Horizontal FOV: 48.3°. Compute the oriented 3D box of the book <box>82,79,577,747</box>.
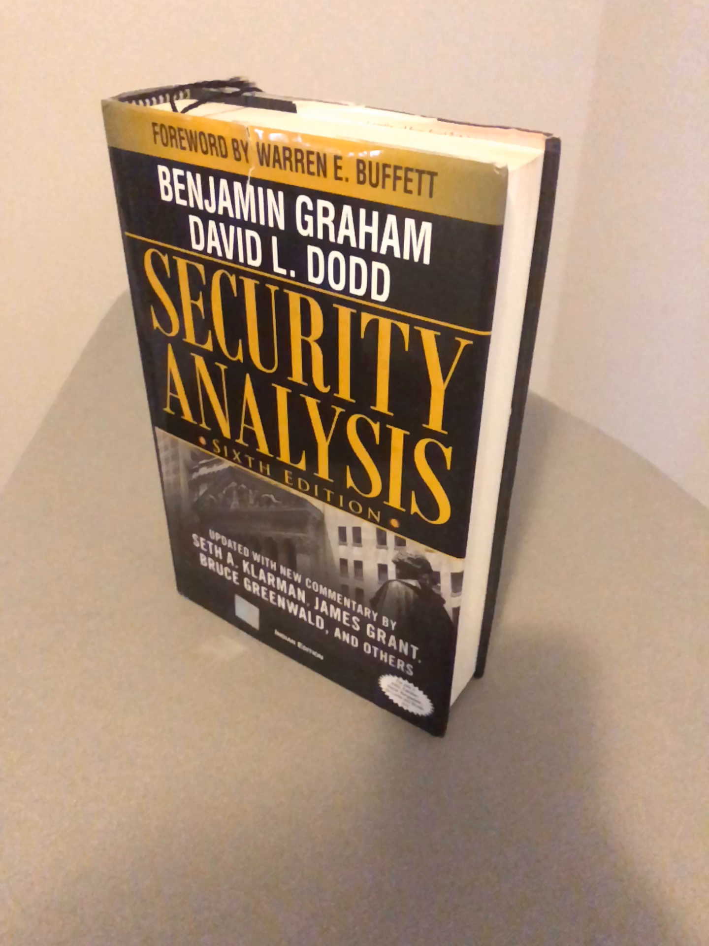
[{"bbox_3d":[-0.016,-0.021,0.318,0.165,0.230,0.047,22,40,29],"label":"book"}]
